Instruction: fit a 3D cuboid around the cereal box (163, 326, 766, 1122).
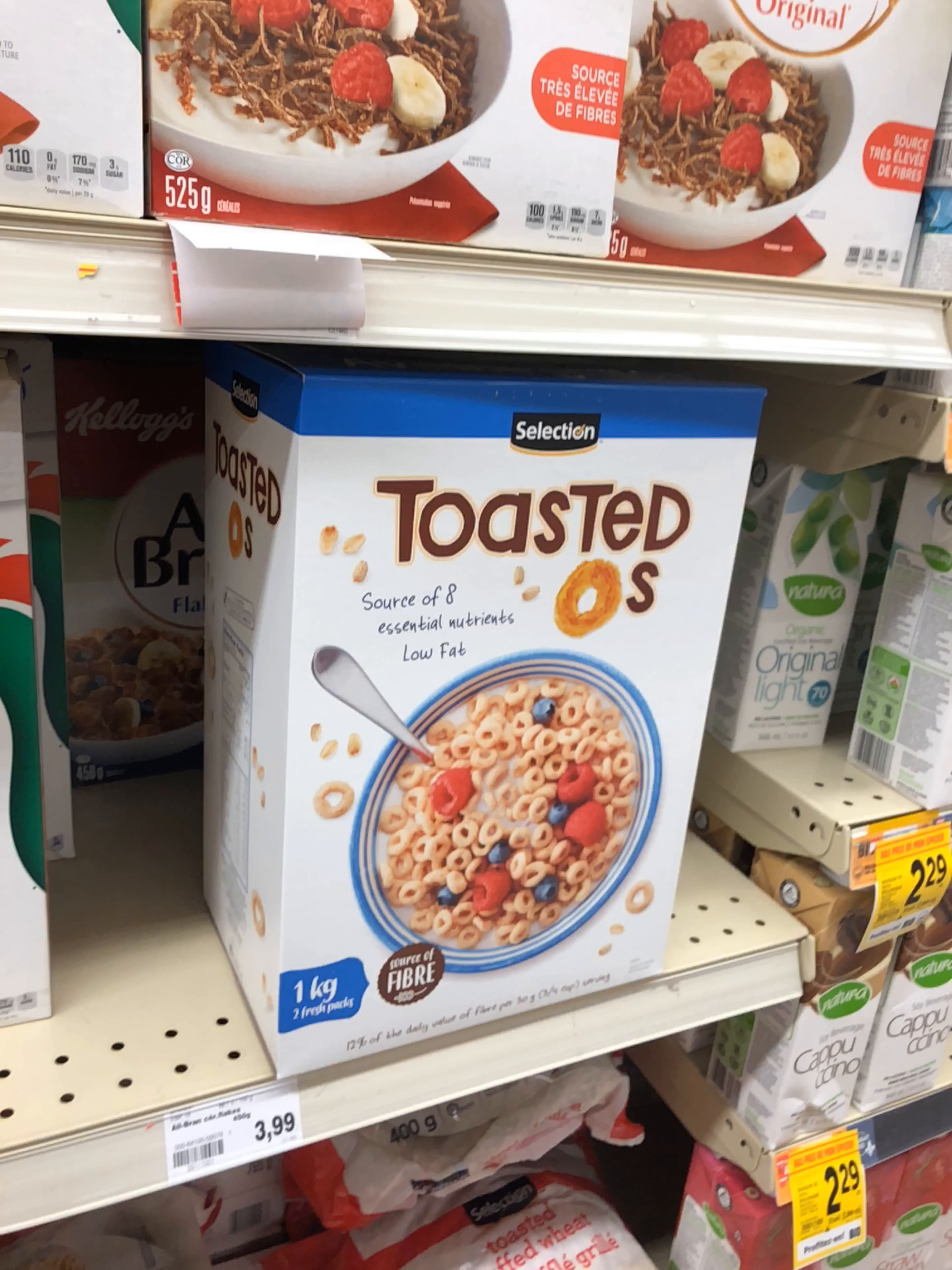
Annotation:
[{"bbox_3d":[-0.021,0.026,0.551,0.240,0.338,0.161,-5,21,-27],"label":"cereal box"}]
